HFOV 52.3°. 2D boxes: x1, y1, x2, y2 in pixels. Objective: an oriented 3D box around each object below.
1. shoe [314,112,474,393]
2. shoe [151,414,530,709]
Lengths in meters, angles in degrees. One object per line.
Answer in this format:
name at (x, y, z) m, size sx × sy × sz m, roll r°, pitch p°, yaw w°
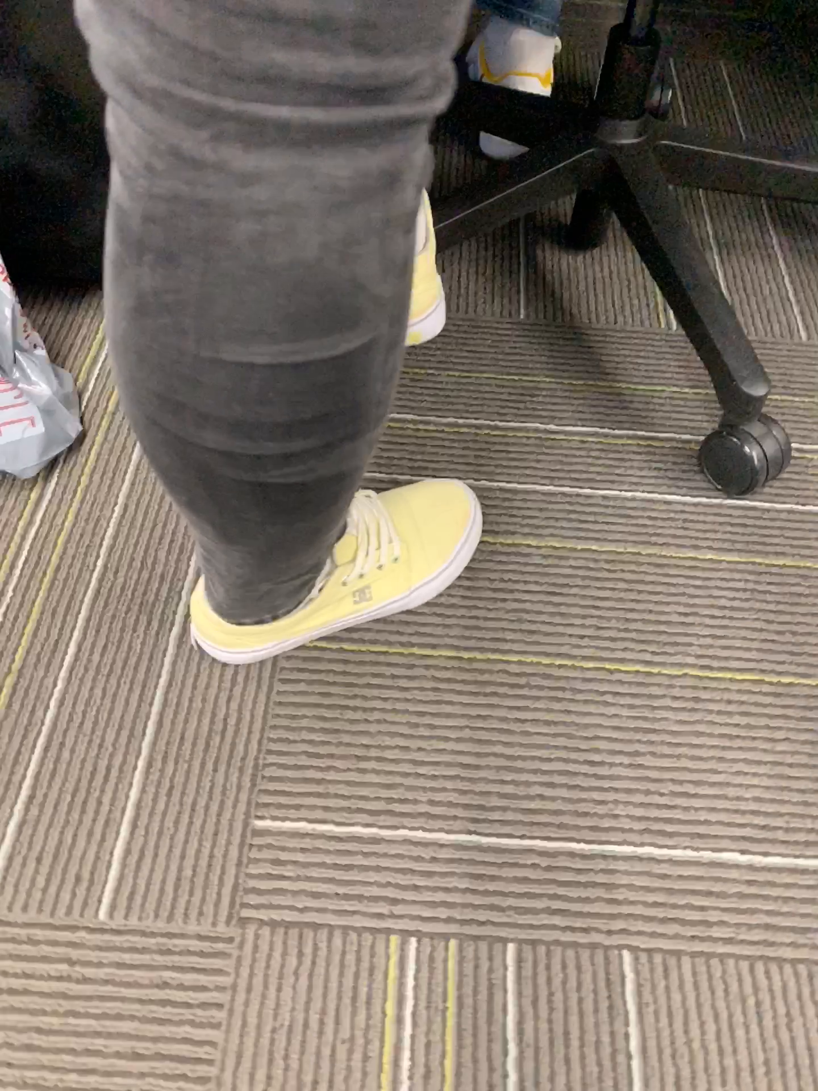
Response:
shoe at (-0.021, -0.267, 0.739) m, size 0.098 × 0.096 × 0.261 m, roll -6°, pitch 56°, yaw -7°
shoe at (-0.050, 0.009, 0.669) m, size 0.268 × 0.101 × 0.102 m, roll -24°, pitch 60°, yaw -18°
